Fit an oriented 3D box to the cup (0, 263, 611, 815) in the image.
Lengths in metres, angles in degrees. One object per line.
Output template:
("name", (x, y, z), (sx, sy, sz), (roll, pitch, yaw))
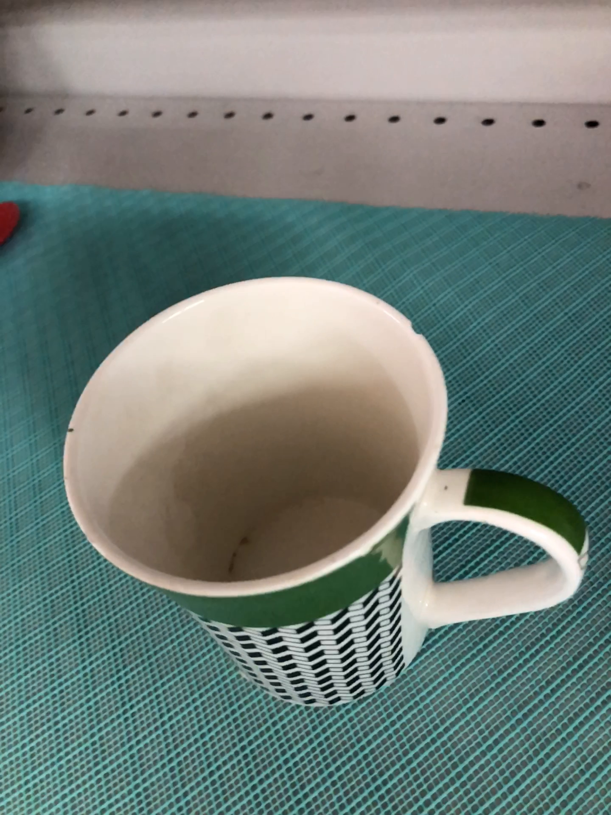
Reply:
("cup", (0.010, 0.033, 0.162), (0.110, 0.100, 0.080), (5, 55, 16))
